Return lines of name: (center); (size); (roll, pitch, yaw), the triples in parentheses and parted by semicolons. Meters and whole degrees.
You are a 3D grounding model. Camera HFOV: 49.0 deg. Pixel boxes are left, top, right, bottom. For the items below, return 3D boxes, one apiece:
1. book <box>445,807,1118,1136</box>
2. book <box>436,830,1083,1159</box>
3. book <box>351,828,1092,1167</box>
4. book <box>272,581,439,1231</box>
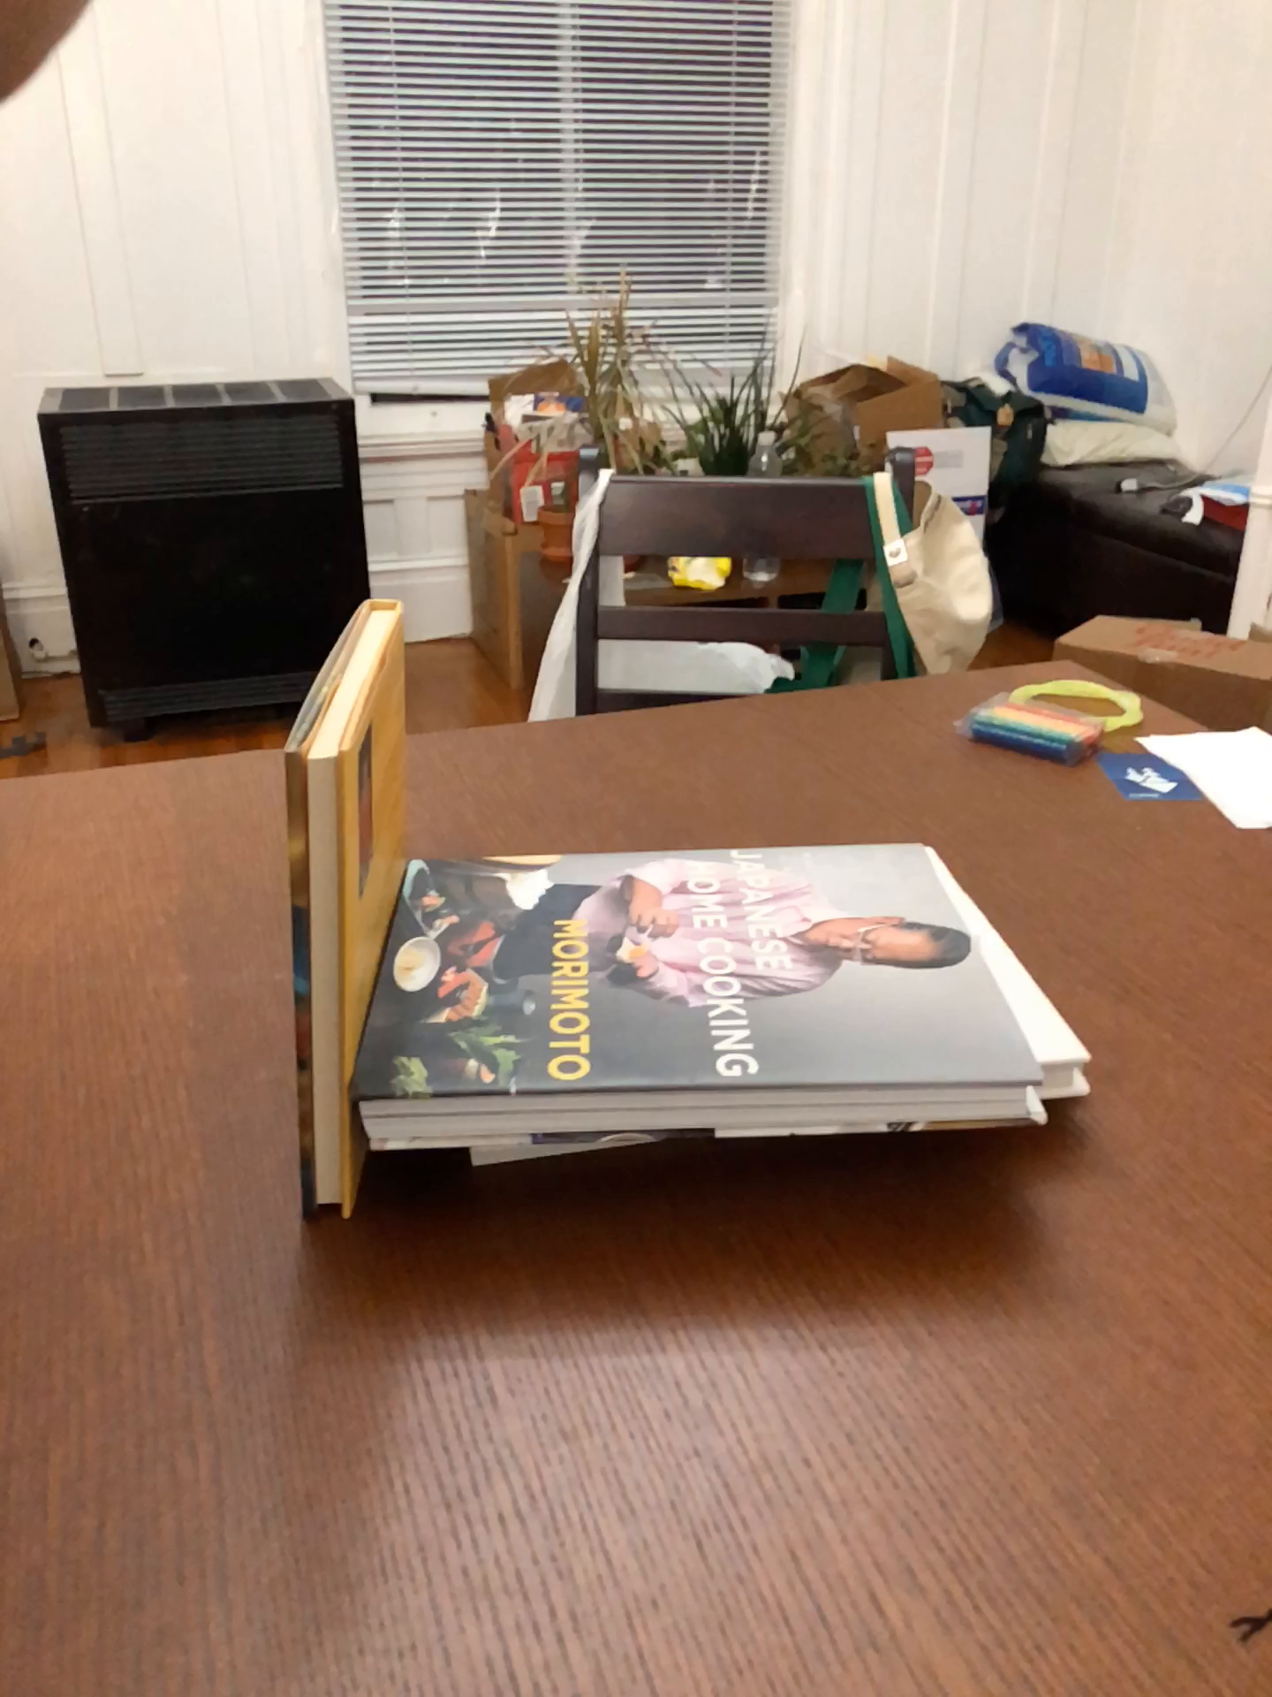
book: (0.052, 0.047, 0.685); (0.280, 0.030, 0.221); (-5, 25, -8)
book: (0.046, 0.062, 0.720); (0.280, 0.030, 0.221); (-6, 25, -10)
book: (0.027, 0.055, 0.631); (0.280, 0.030, 0.221); (-3, 24, -3)
book: (-0.115, 0.013, 0.614); (0.030, 0.209, 0.211); (1, 25, -2)
